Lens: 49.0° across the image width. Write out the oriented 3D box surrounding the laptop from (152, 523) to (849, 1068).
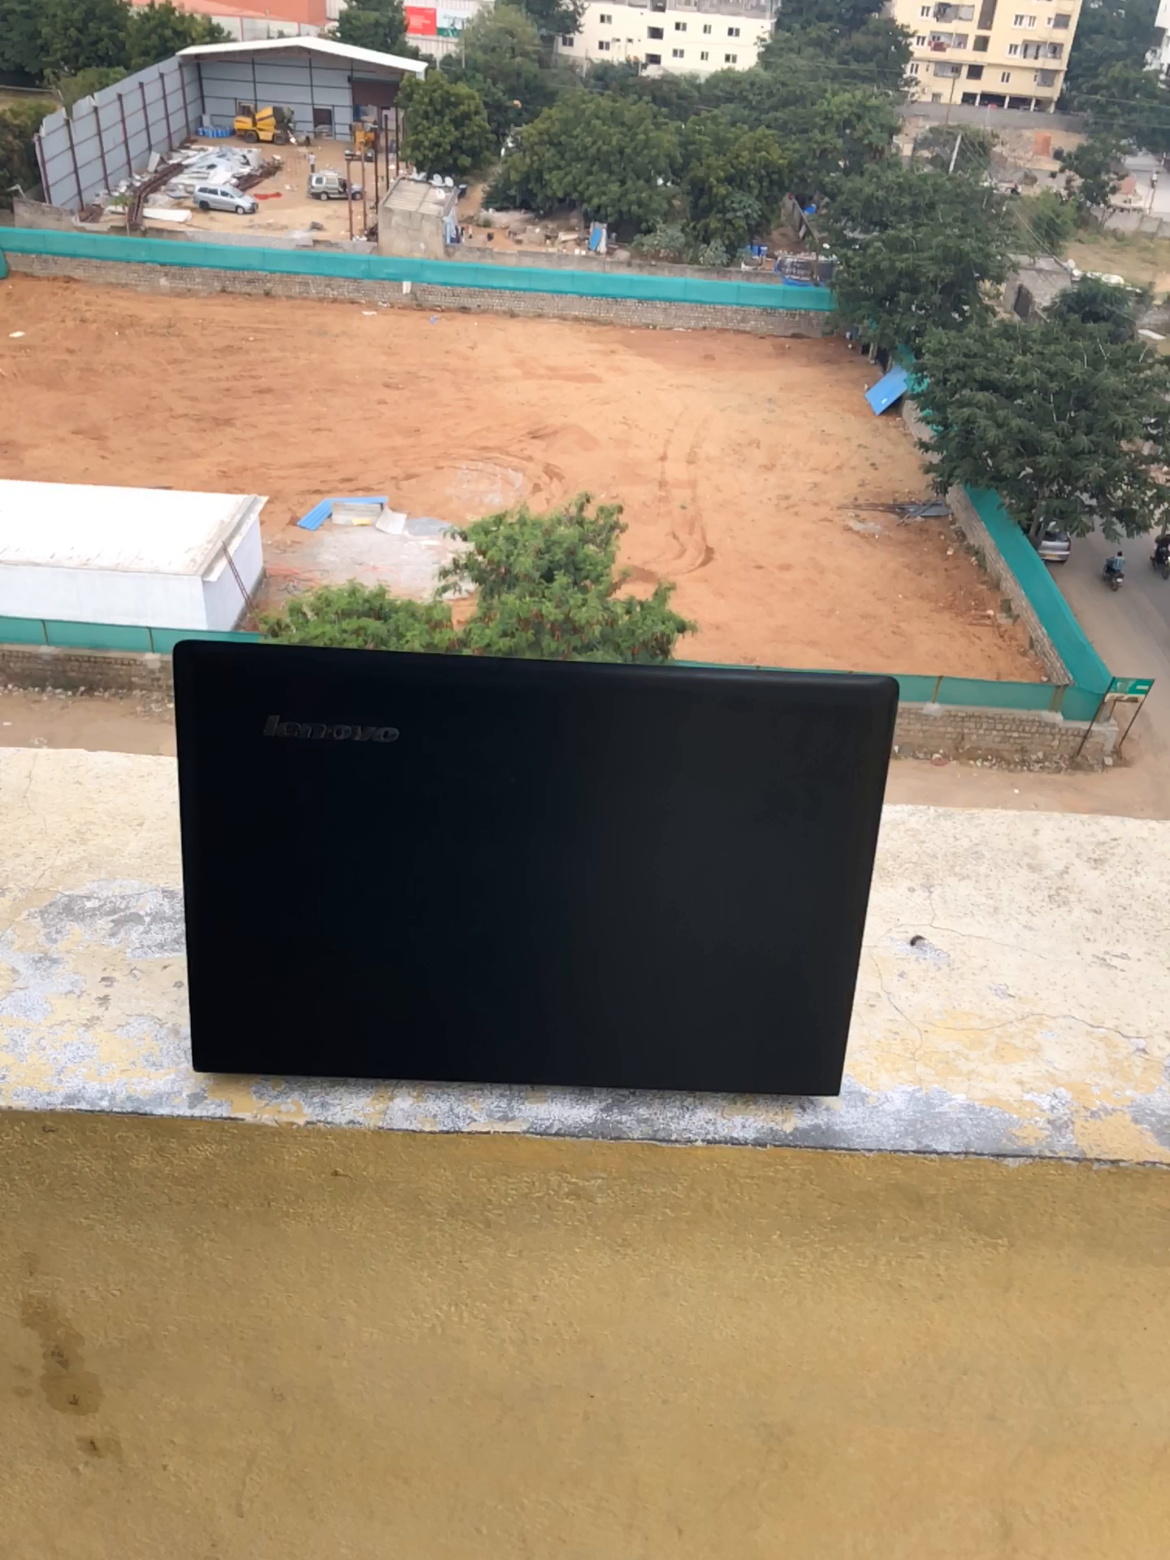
[{"bbox_3d":[-0.047,0.002,0.780,0.333,0.223,0.246,2,35,-1],"label":"laptop"}]
